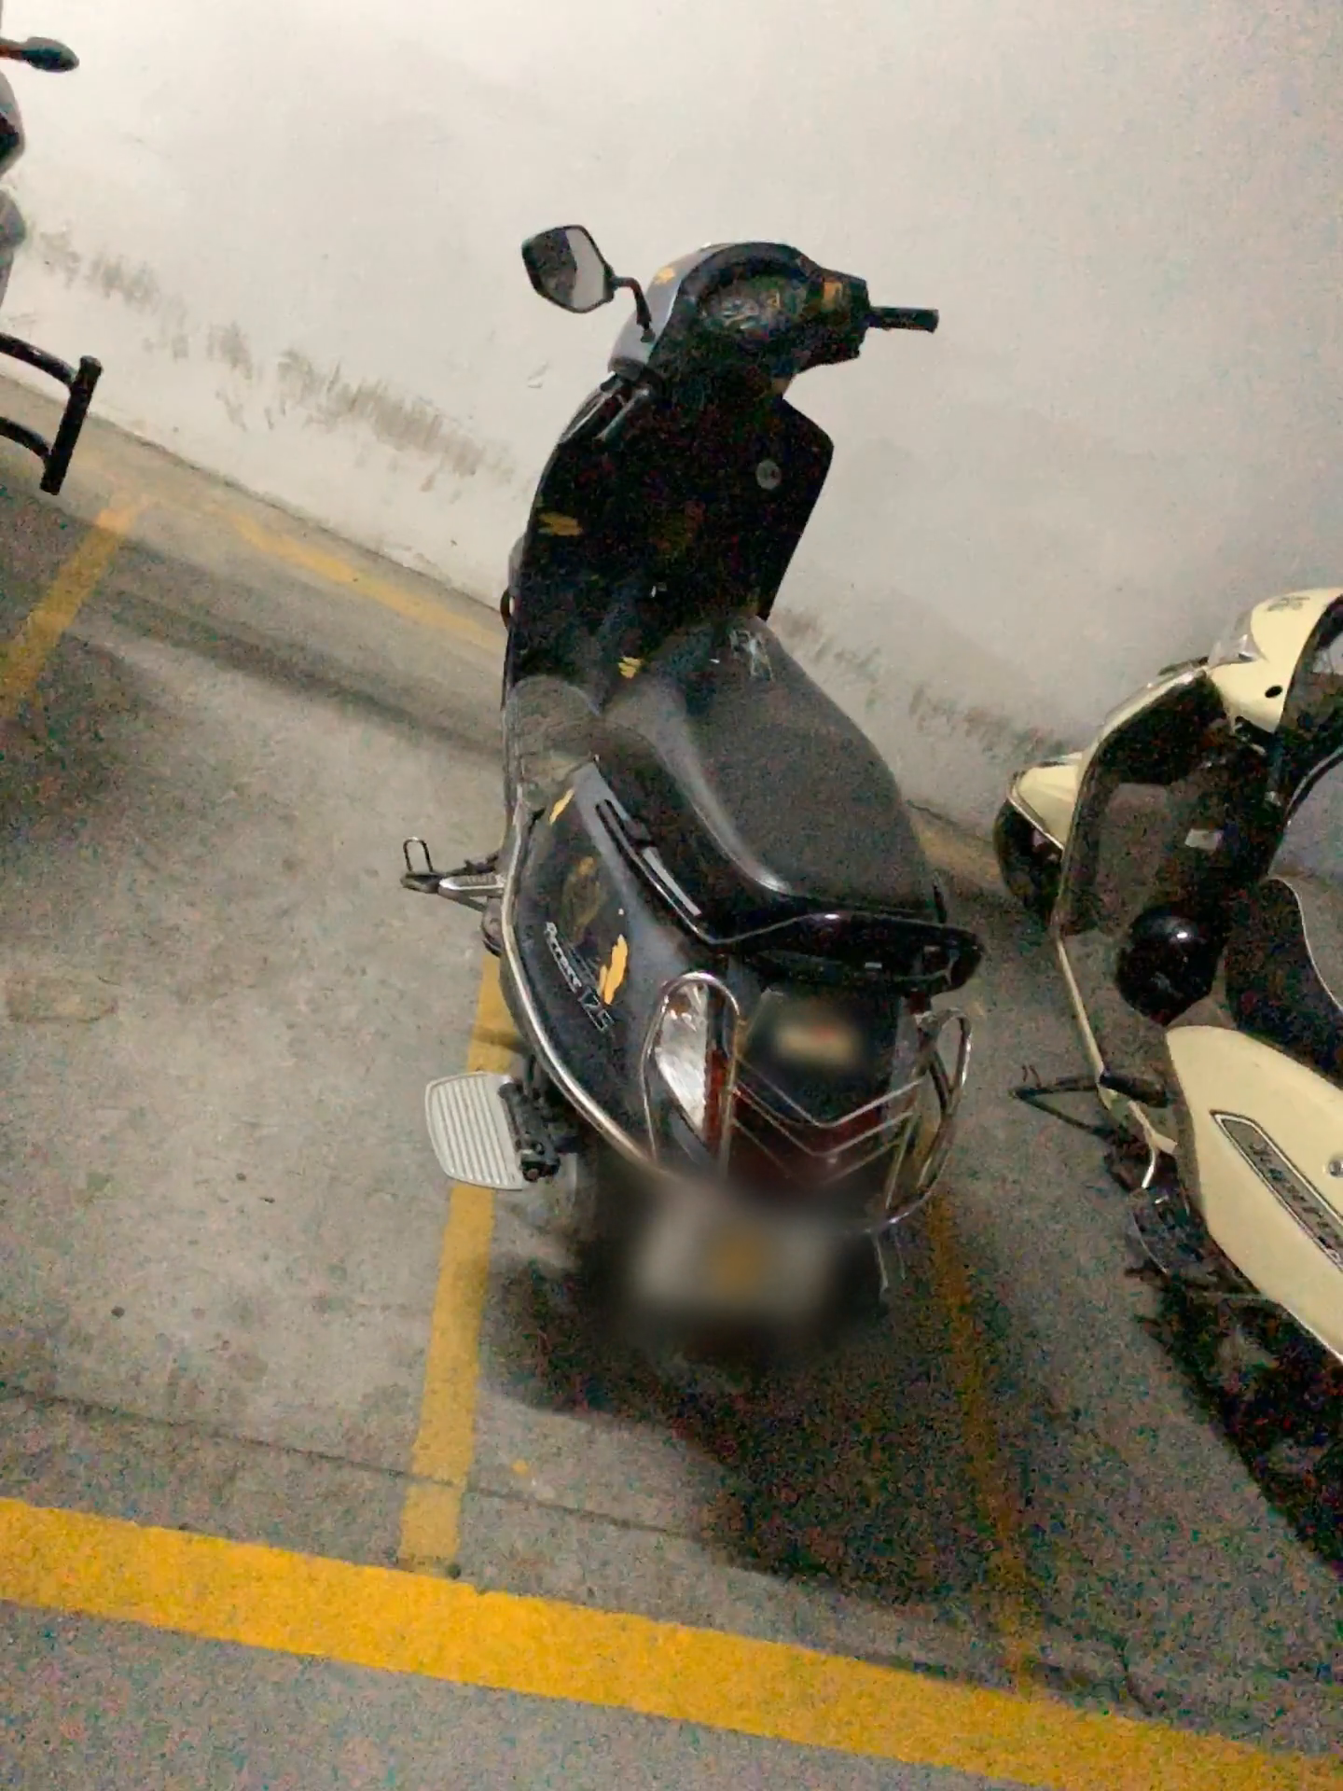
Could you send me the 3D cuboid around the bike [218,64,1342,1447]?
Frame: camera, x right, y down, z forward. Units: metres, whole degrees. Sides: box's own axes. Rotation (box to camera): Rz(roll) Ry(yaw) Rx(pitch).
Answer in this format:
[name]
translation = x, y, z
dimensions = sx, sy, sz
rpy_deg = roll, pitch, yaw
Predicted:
[bike]
translation = -0.107, -0.234, 1.990
dimensions = 0.653, 1.239, 1.537
rpy_deg = 16, 37, -27
